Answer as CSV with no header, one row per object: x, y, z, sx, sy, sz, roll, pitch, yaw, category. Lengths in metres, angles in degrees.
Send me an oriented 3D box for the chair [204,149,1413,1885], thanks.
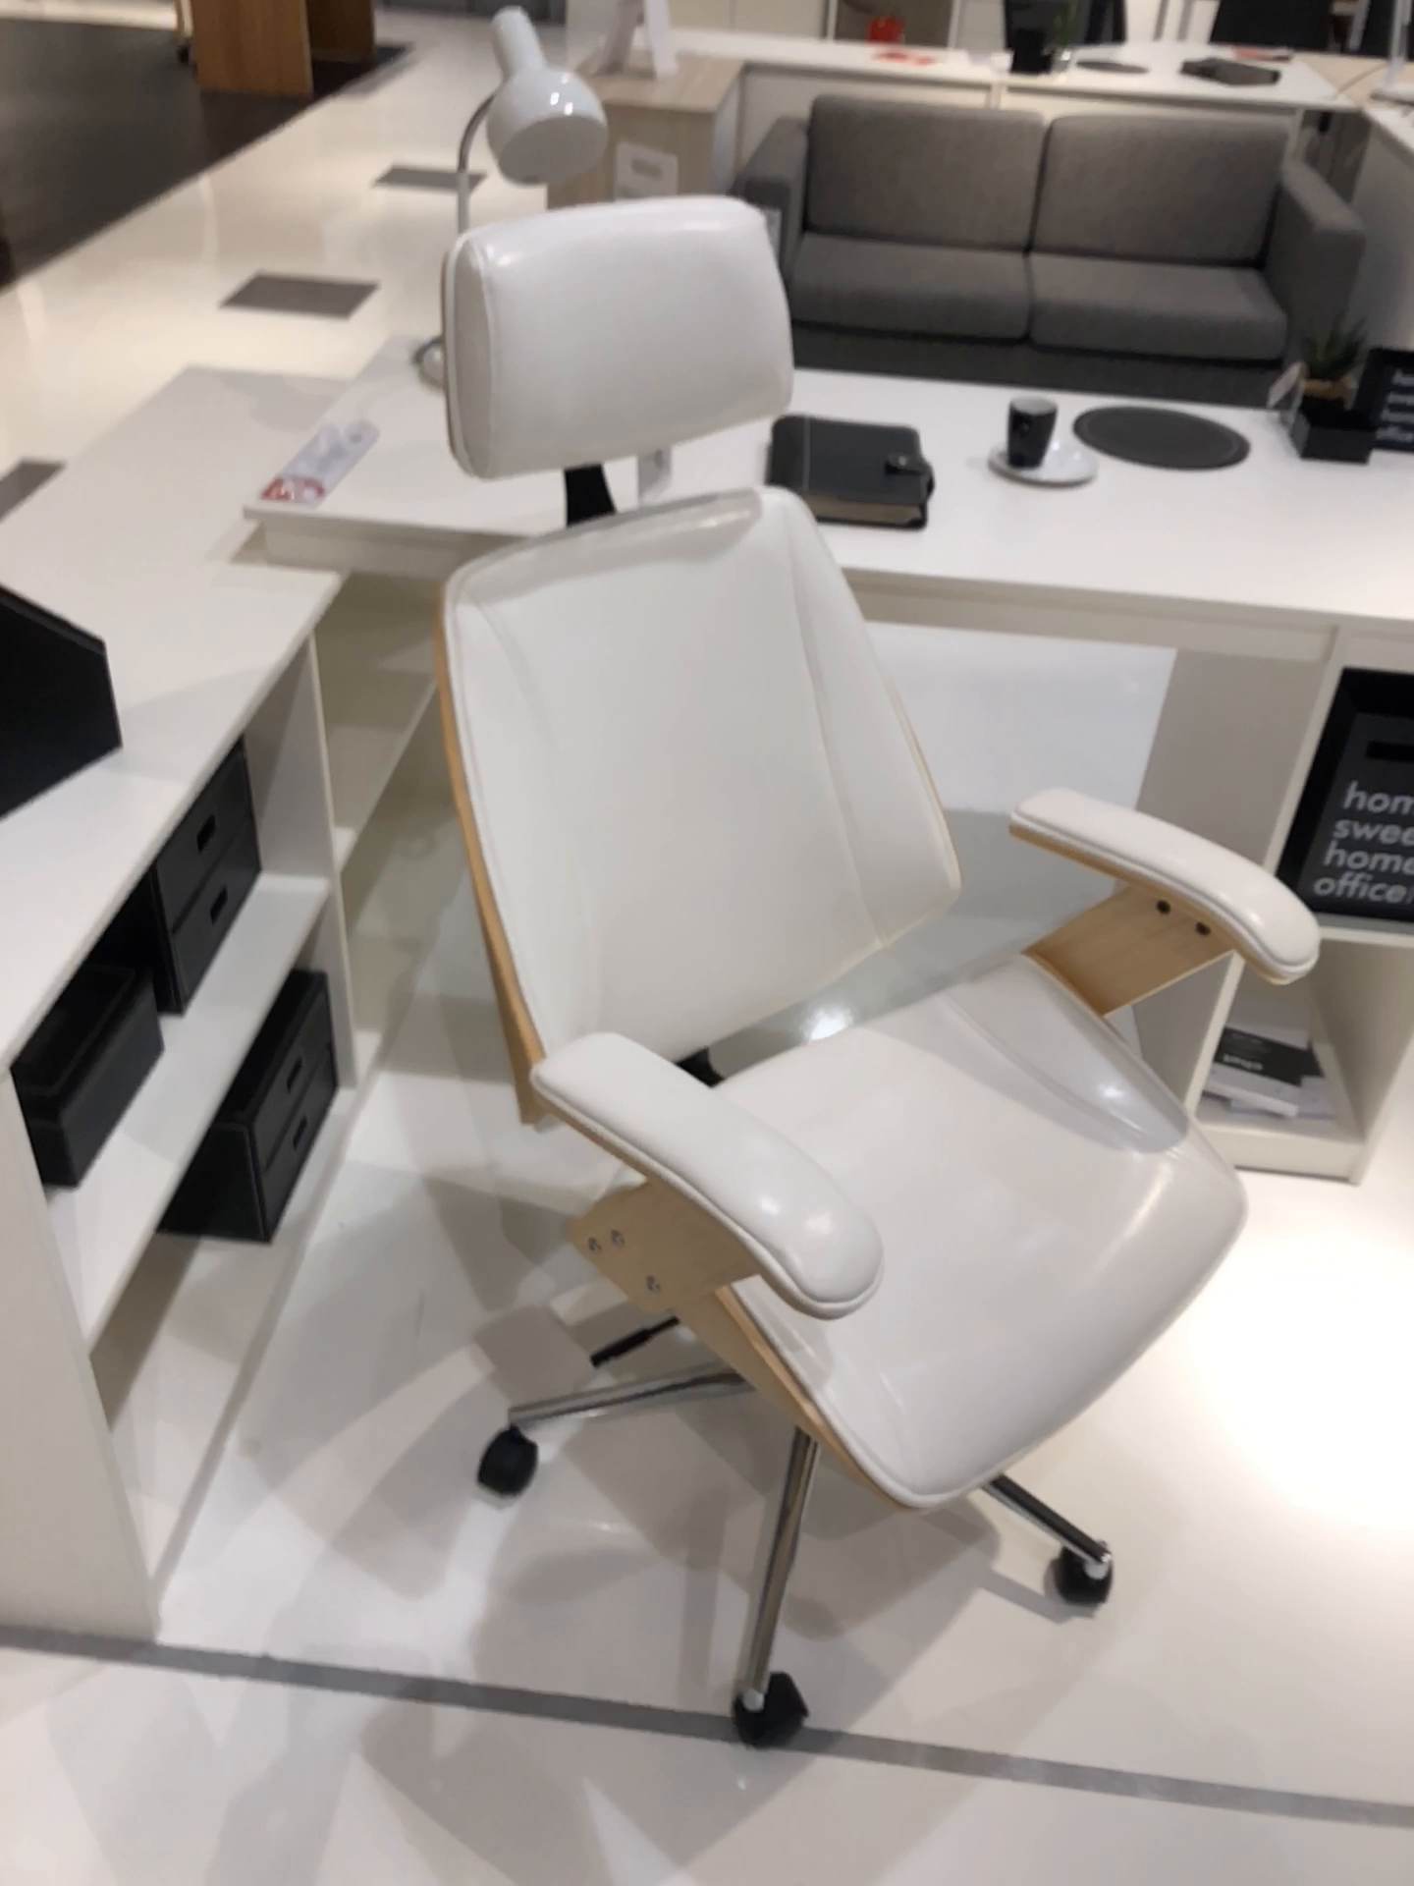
0.131,0.041,1.304,0.673,1.101,0.703,-25,46,-33,chair
